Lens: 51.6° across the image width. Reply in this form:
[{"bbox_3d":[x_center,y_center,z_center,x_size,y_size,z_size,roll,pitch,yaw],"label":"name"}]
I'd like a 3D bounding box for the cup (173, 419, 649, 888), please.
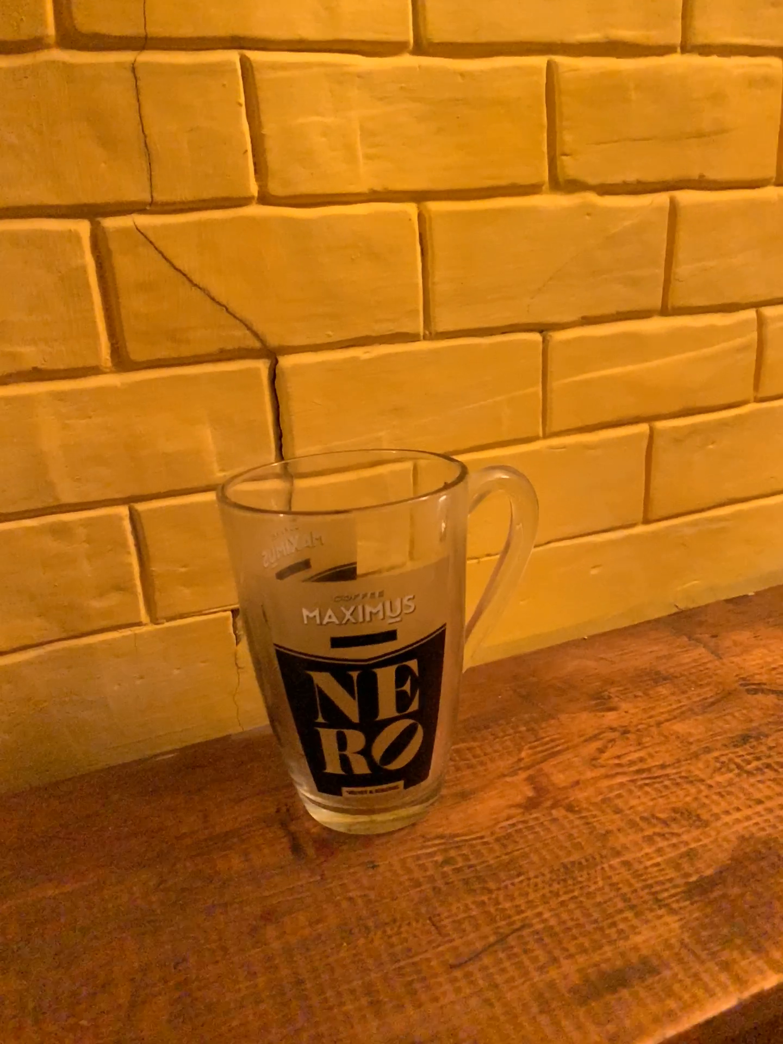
[{"bbox_3d":[0.005,0.031,0.278,0.124,0.098,0.094,-13,22,-25],"label":"cup"}]
